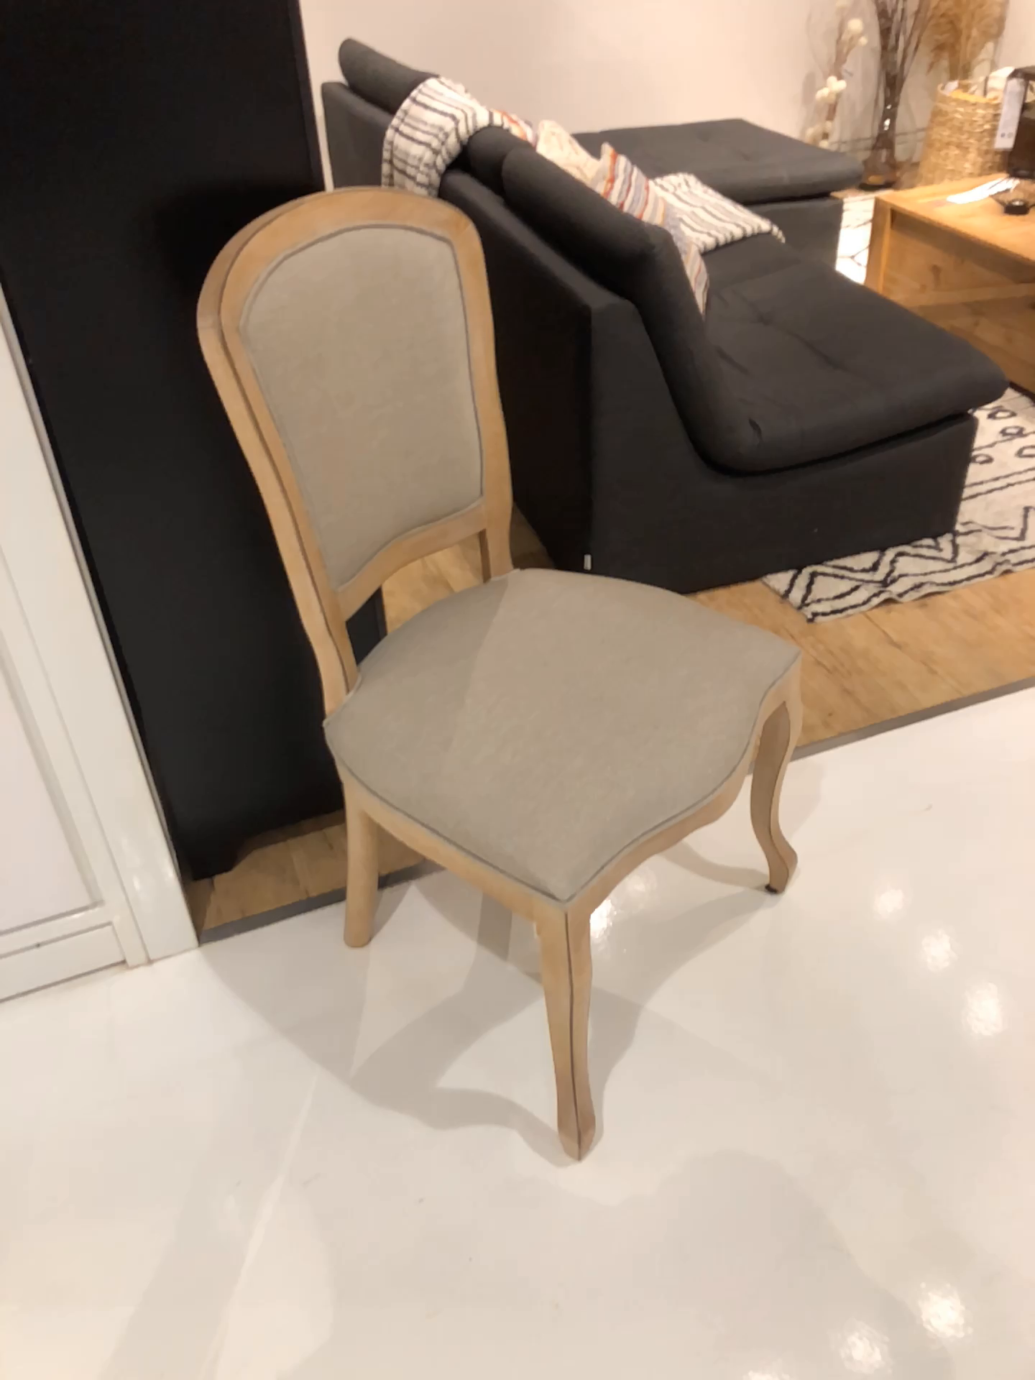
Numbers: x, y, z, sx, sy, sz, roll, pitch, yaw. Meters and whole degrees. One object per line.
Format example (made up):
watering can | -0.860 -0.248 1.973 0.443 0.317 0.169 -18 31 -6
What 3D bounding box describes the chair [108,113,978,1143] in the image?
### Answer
chair | 0.061 -0.099 1.307 0.551 0.873 0.603 23 44 30
